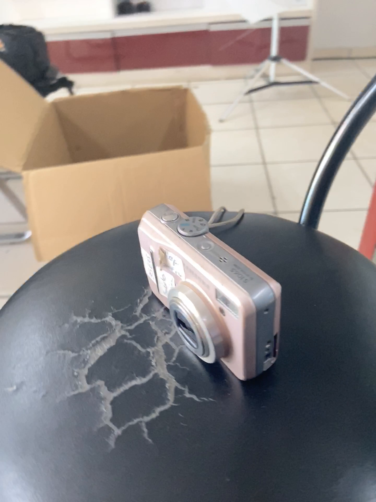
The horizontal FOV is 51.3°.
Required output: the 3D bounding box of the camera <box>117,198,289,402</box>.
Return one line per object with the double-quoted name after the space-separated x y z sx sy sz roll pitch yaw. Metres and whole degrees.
0.006 0.024 0.236 0.040 0.070 0.100 -28 44 -26 "camera"
